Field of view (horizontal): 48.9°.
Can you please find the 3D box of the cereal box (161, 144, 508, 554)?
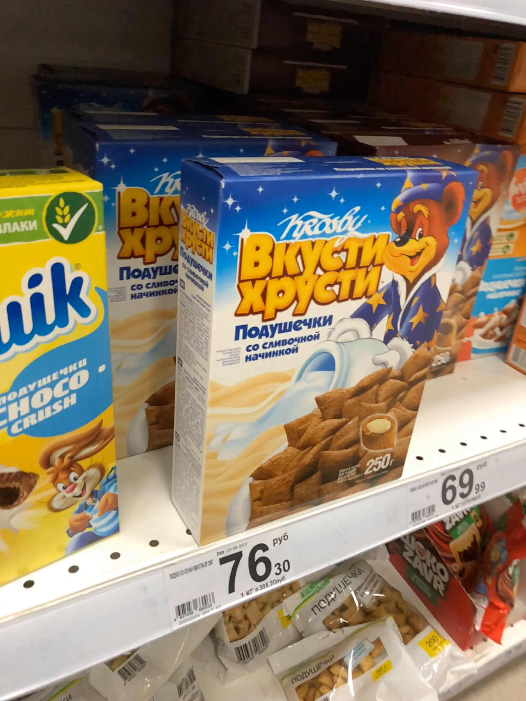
[{"bbox_3d":[0.037,-0.004,0.362,0.190,0.229,0.050,-10,32,-29],"label":"cereal box"}]
